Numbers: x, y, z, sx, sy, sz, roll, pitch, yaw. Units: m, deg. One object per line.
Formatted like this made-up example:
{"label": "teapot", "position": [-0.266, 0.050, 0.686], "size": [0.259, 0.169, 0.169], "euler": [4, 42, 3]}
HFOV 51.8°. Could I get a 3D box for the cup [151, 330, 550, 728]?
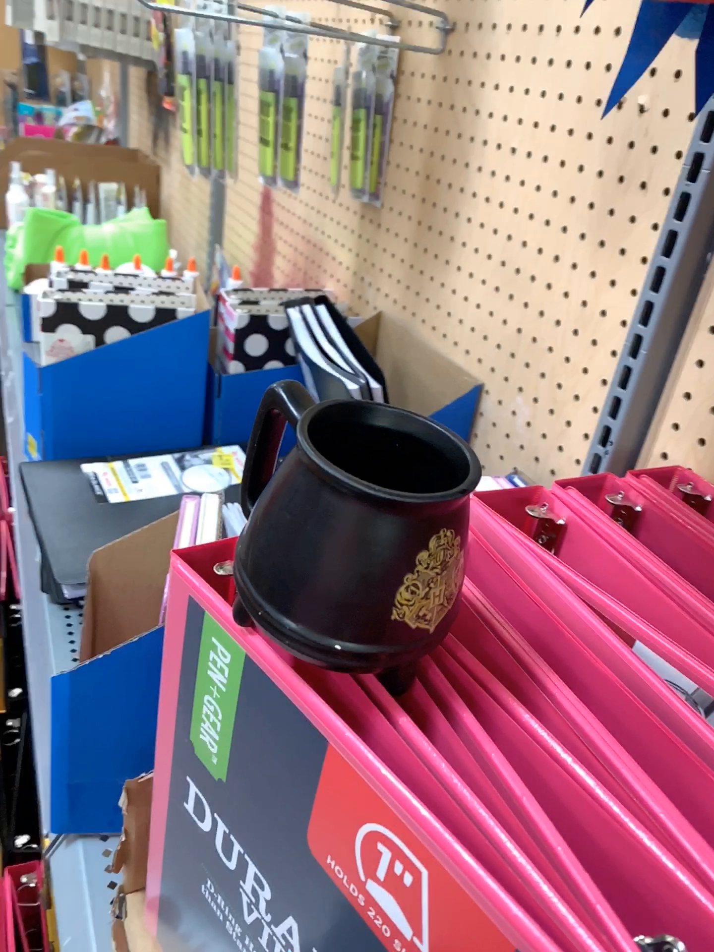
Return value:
{"label": "cup", "position": [-0.011, 0.010, 0.305], "size": [0.097, 0.093, 0.122], "euler": [-16, 39, -39]}
